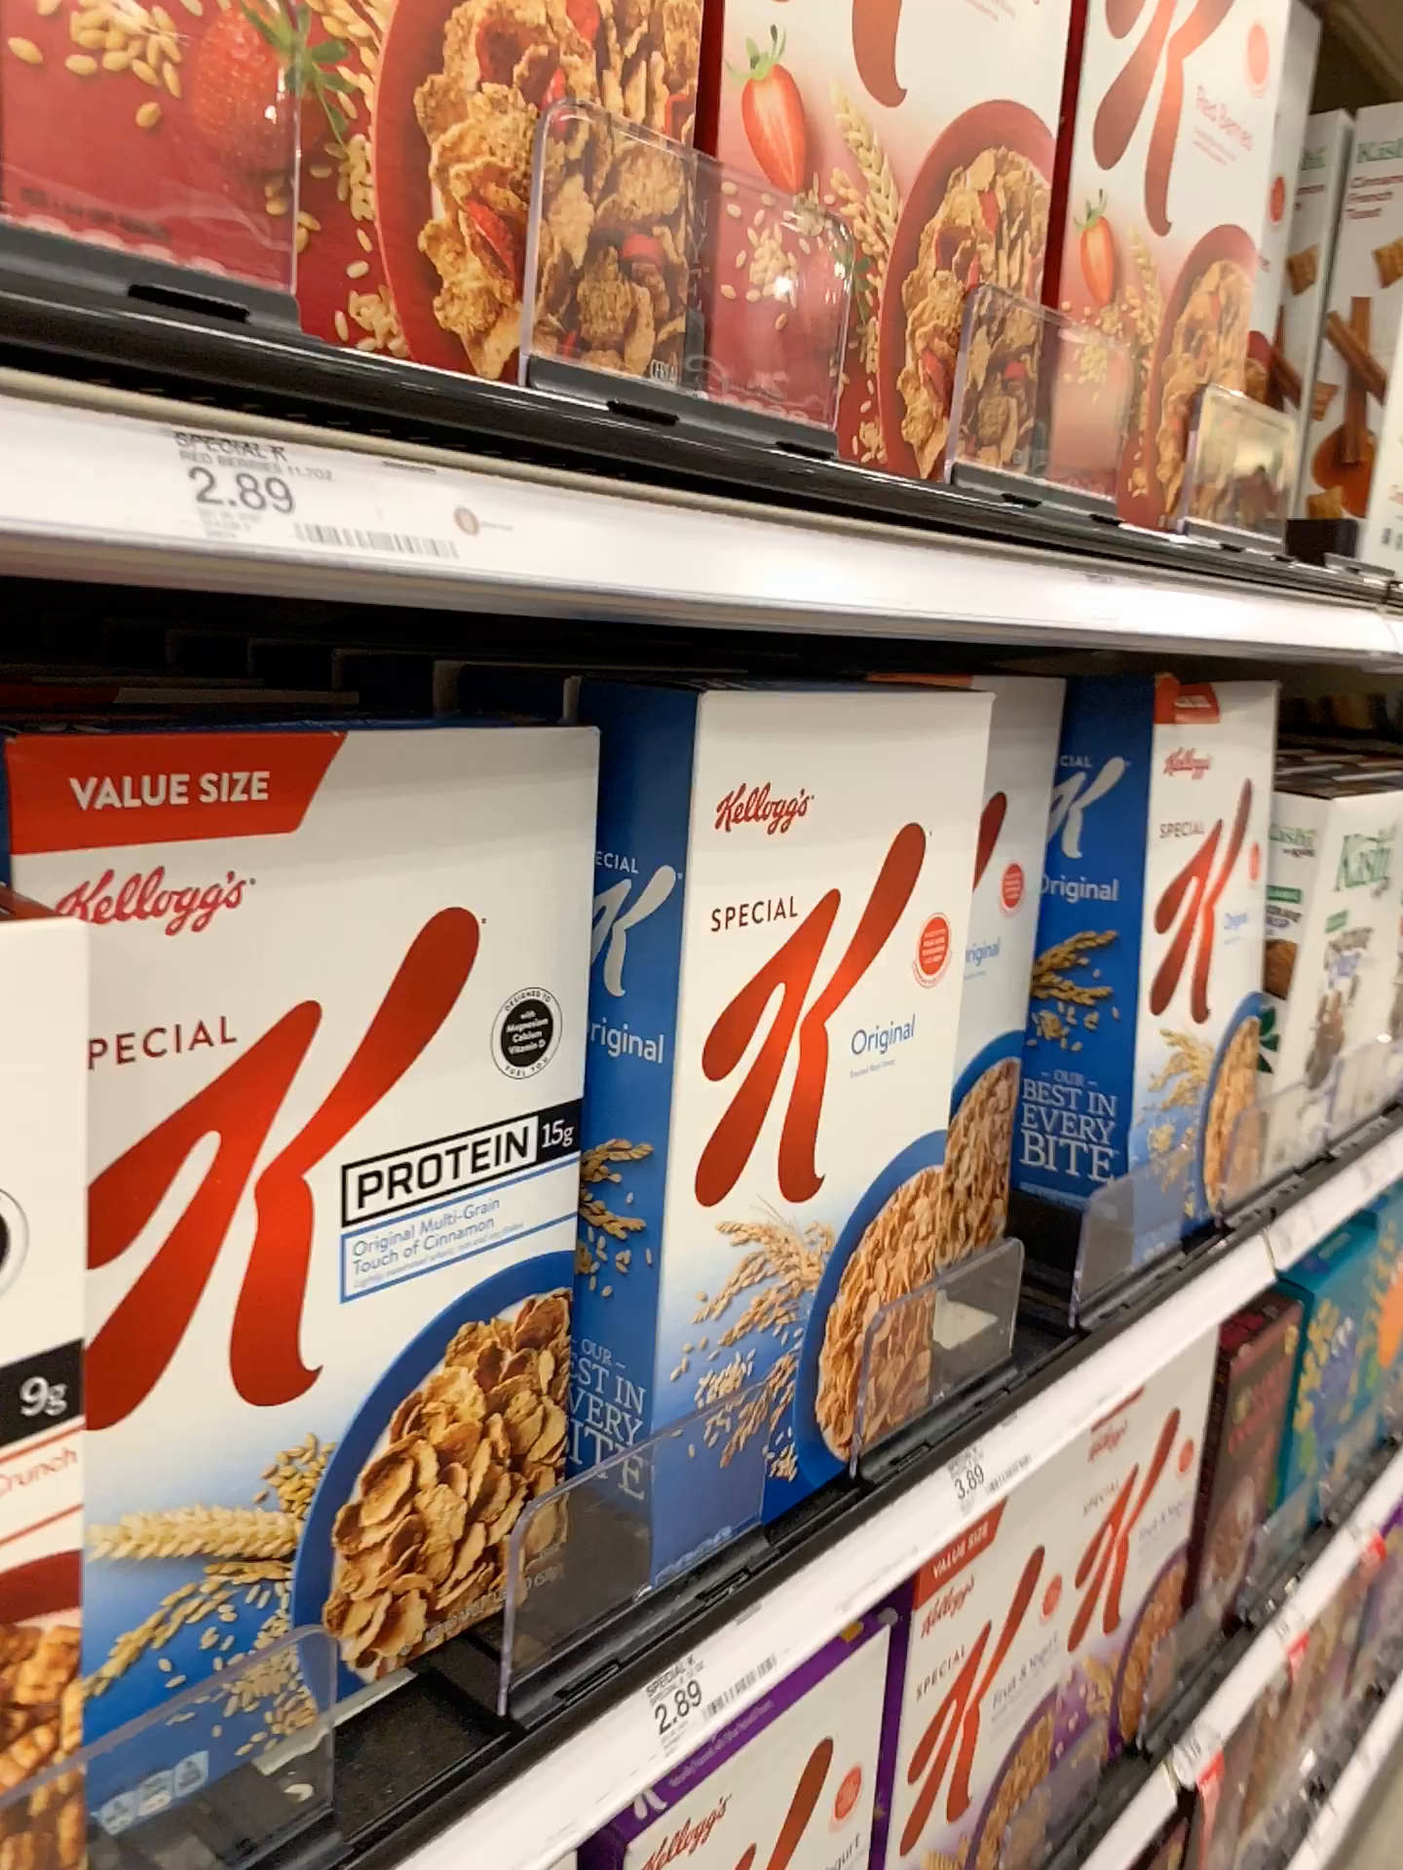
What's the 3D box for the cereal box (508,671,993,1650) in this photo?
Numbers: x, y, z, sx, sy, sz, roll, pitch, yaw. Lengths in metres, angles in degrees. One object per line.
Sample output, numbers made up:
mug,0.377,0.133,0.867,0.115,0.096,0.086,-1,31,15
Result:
cereal box,0.023,0.066,0.544,0.060,0.319,0.190,12,13,38
